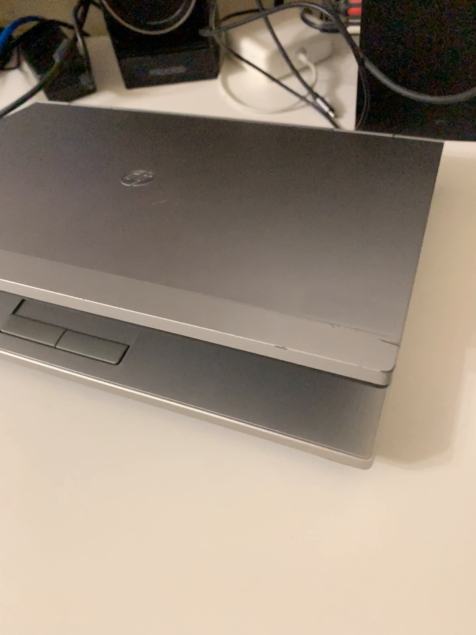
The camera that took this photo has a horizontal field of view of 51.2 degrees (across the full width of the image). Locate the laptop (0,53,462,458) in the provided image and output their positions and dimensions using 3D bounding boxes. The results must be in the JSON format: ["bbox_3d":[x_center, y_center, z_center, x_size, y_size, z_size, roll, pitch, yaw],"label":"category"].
[{"bbox_3d":[-0.053,-0.067,0.283,0.304,0.042,0.201,13,59,18],"label":"laptop"}]
